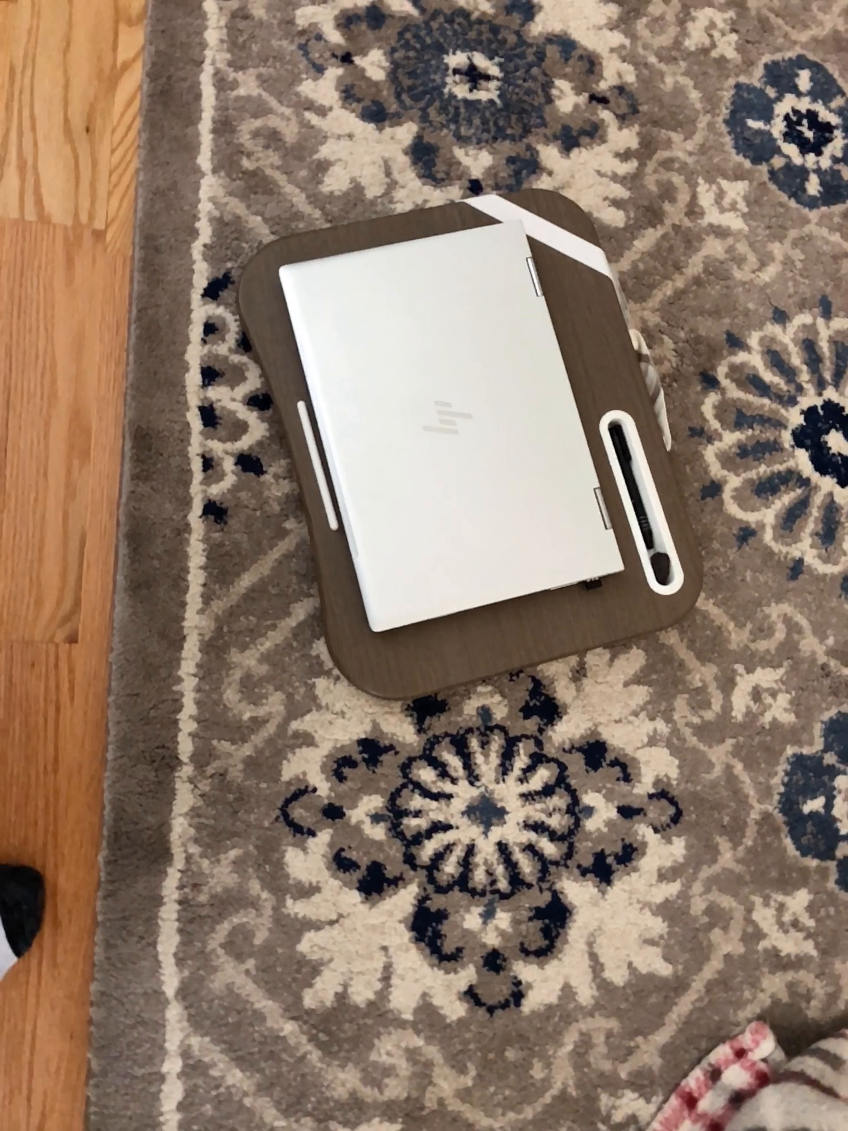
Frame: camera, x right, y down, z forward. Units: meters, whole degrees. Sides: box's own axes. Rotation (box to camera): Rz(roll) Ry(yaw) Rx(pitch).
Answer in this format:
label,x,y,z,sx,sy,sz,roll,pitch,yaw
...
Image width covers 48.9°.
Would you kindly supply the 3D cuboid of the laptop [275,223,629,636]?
label,x,y,z,sx,sy,sz,roll,pitch,yaw
laptop,0.022,-0.135,0.869,0.241,0.026,0.354,-13,81,-10
